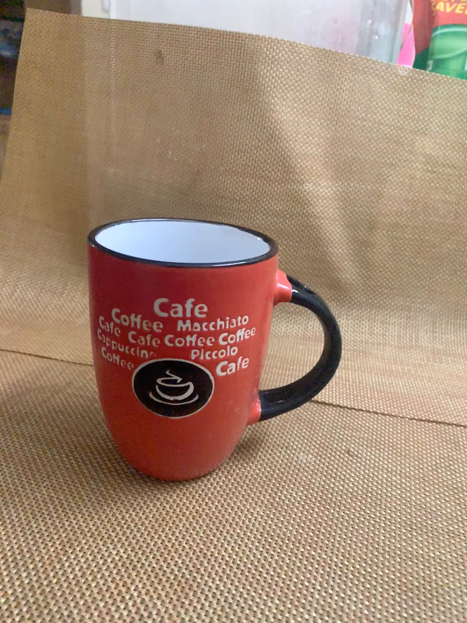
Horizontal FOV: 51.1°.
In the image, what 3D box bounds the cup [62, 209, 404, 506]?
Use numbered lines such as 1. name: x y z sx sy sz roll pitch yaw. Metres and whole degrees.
1. cup: -0.008 0.013 0.227 0.120 0.099 0.091 0 22 -11
